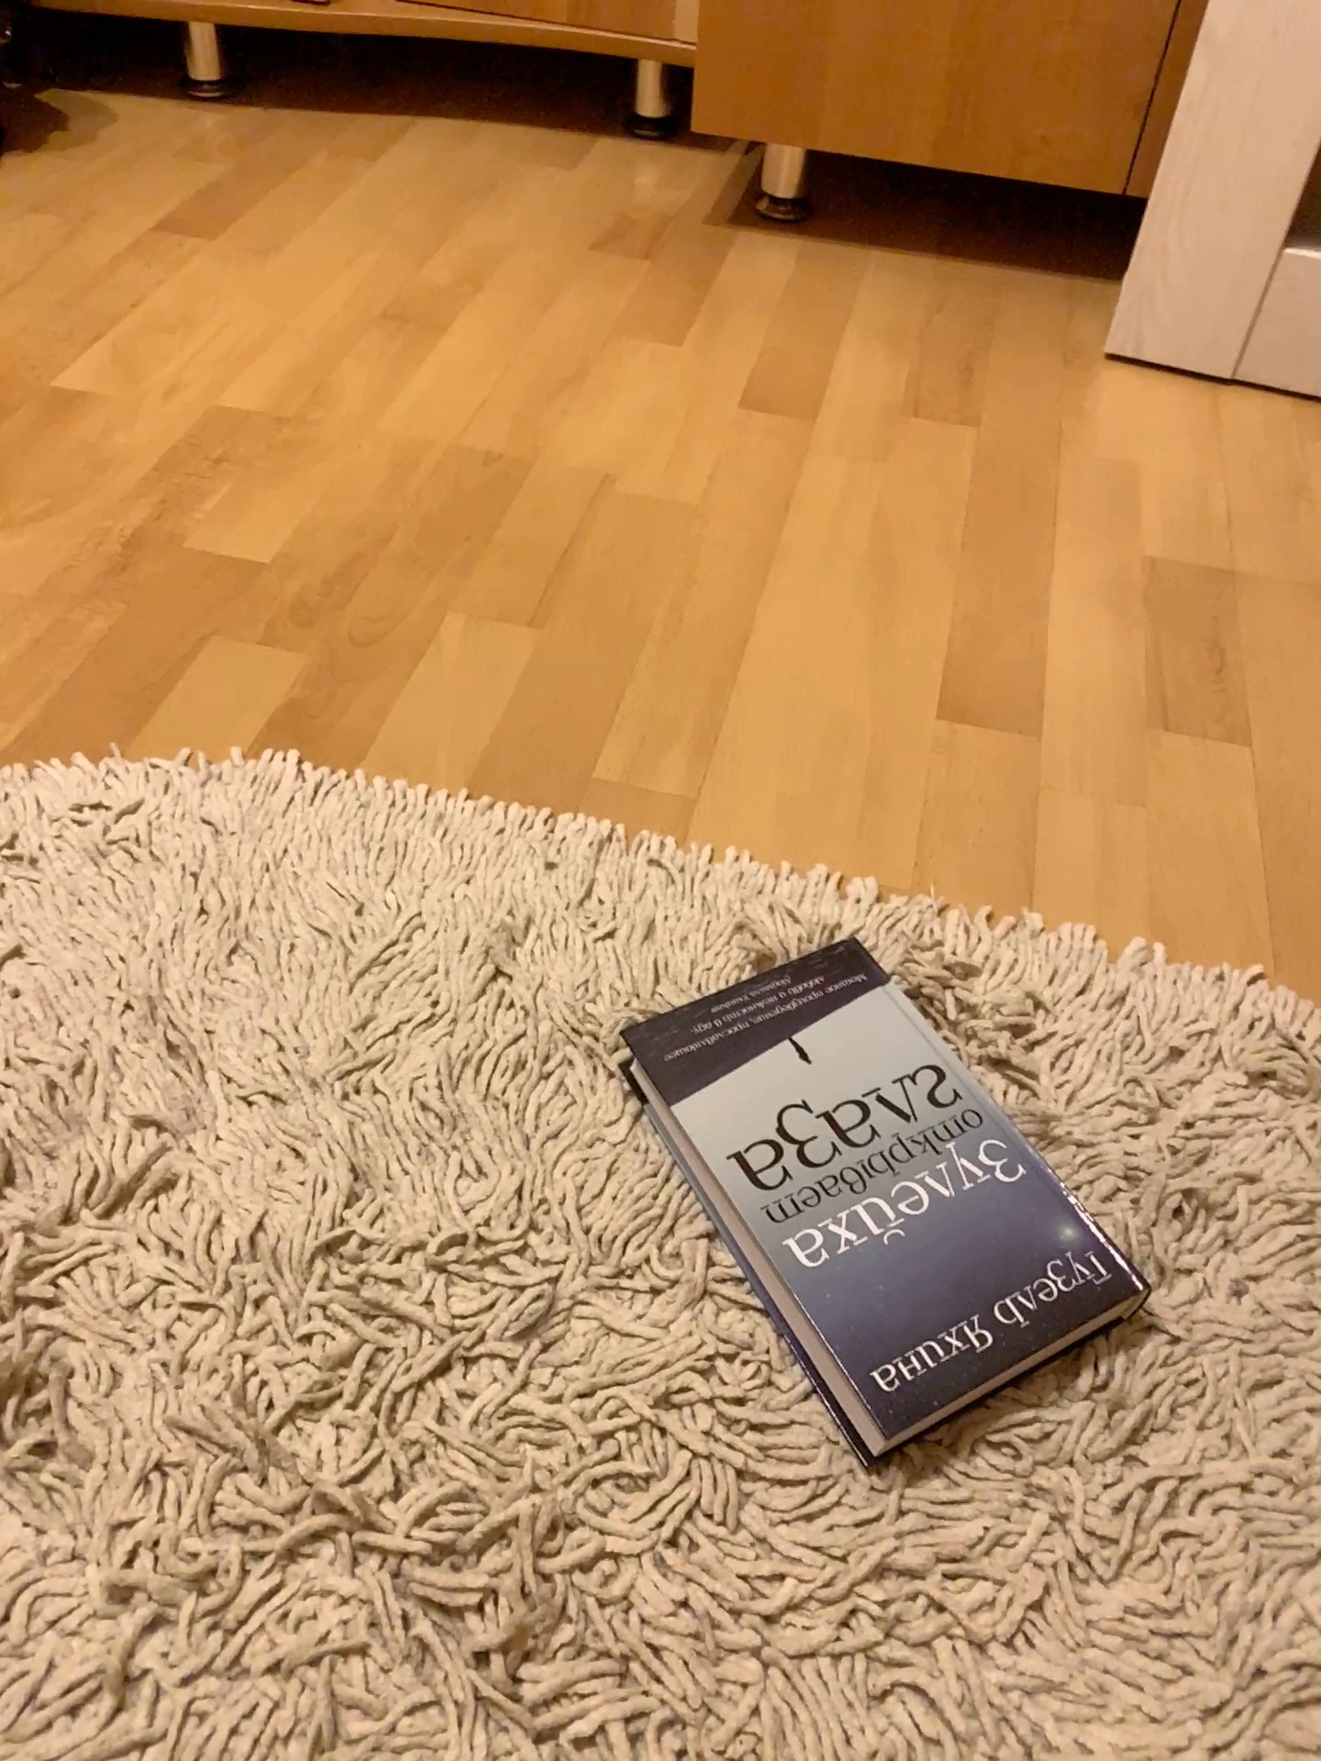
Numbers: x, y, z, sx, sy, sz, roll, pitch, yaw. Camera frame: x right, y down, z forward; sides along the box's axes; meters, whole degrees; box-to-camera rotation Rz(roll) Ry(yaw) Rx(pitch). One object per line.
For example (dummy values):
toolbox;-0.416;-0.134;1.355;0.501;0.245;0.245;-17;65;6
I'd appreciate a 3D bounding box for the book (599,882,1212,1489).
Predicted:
book;0.092;0.111;0.570;0.150;0.040;0.221;-21;51;-21
